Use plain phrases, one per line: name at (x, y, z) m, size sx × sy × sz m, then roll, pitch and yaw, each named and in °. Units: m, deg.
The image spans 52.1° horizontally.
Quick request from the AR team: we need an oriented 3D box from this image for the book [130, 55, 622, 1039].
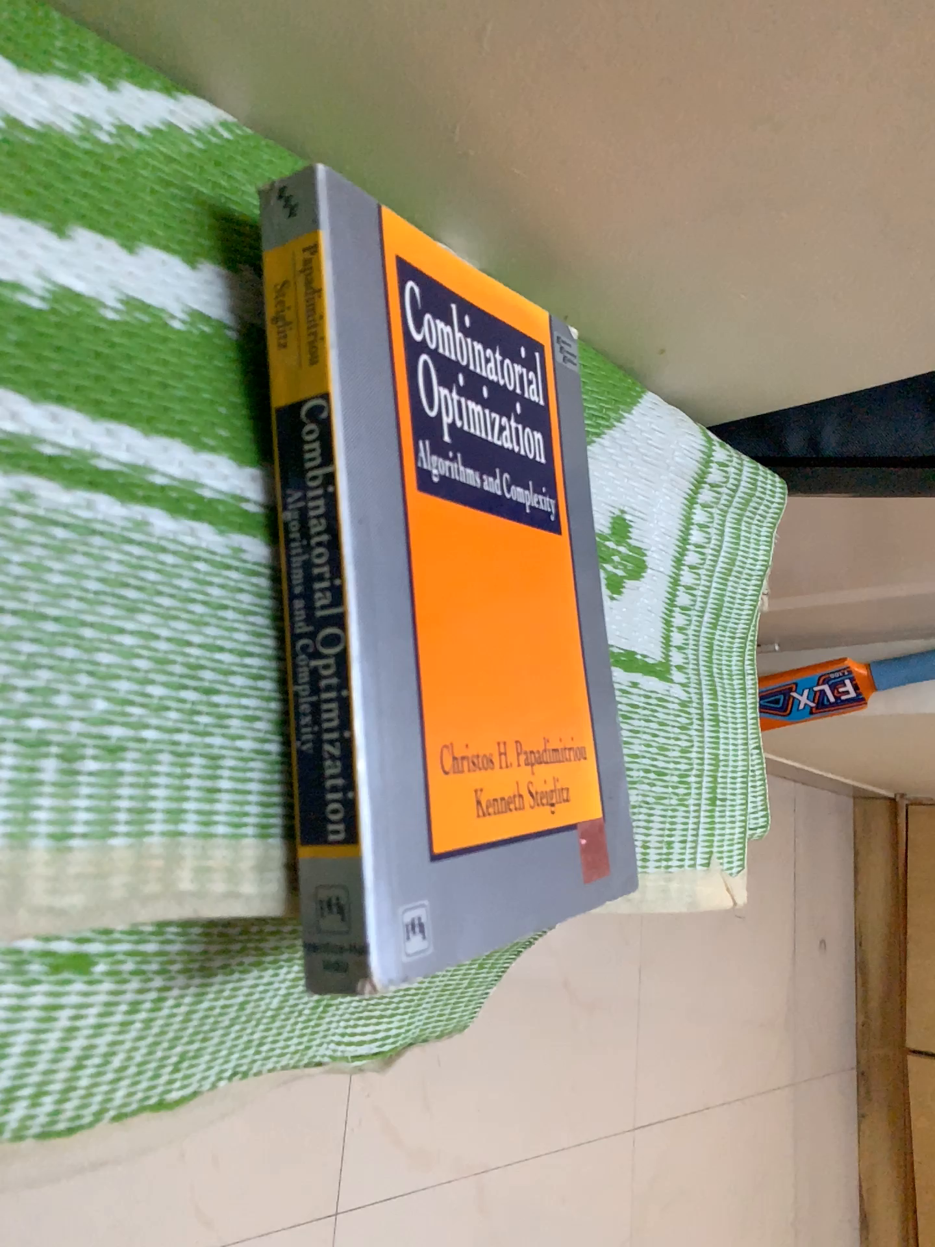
book at (-0.022, -0.022, 0.333) m, size 0.171 × 0.040 × 0.270 m, roll 8°, pitch 71°, yaw -57°
